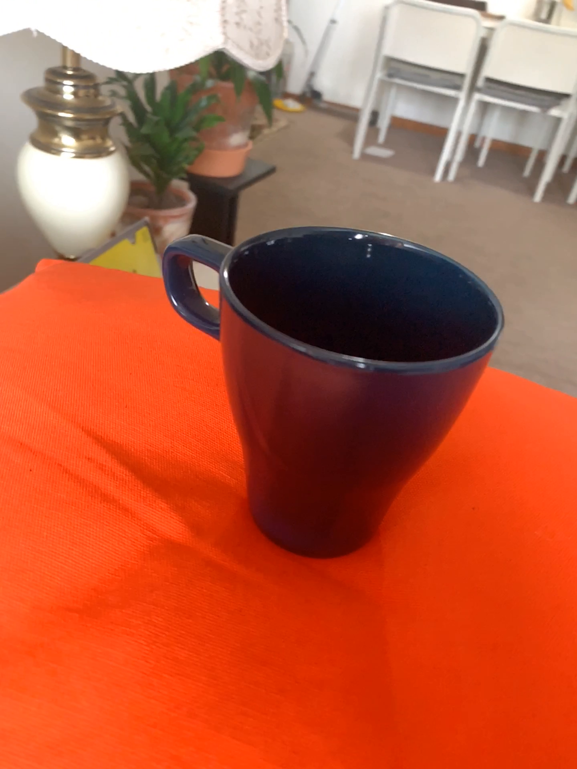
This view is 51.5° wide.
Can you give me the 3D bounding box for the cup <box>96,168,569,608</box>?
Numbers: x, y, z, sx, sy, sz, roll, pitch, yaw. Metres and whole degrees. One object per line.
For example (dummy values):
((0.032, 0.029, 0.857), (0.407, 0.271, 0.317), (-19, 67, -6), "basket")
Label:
((0.010, -0.010, 0.202), (0.120, 0.079, 0.081), (27, 38, 22), "cup")
